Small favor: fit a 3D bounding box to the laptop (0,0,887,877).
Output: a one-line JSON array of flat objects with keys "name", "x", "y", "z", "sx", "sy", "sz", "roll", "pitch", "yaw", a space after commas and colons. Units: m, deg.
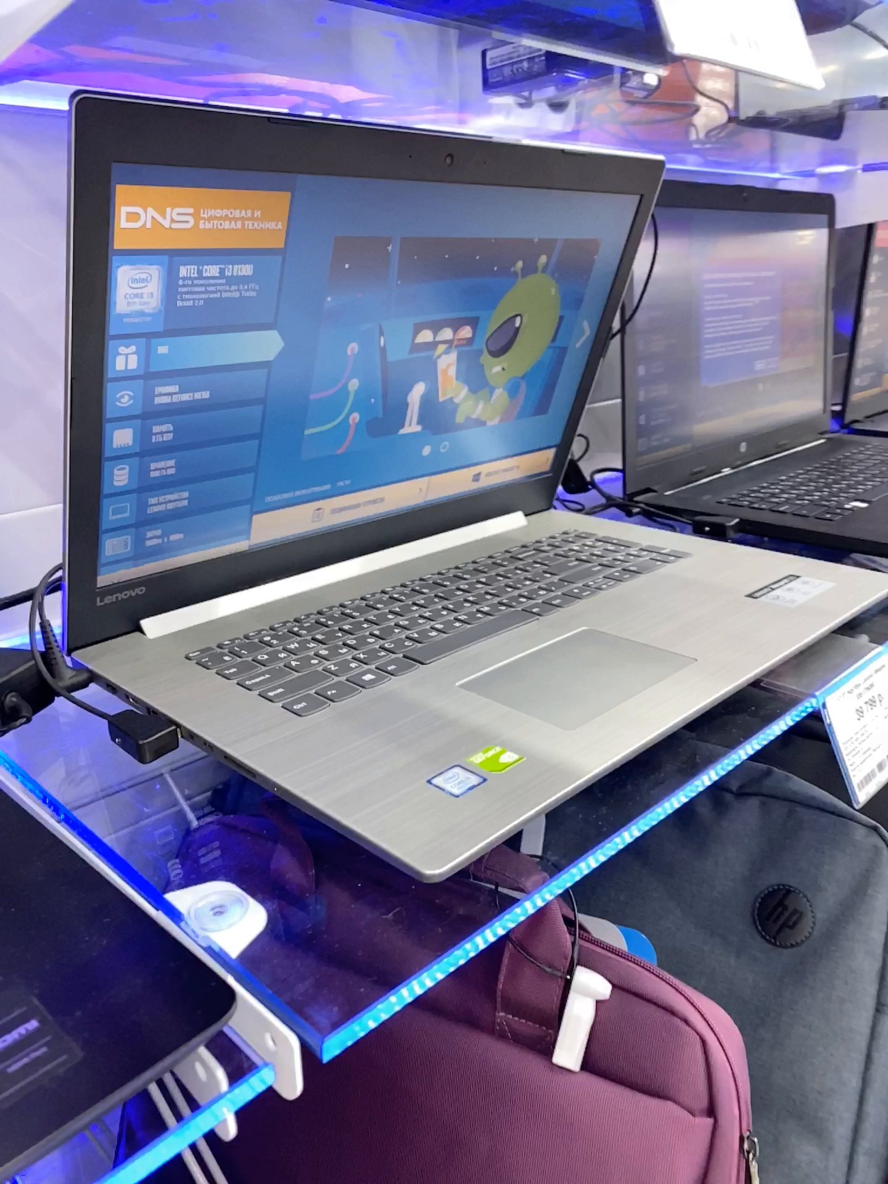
[{"name": "laptop", "x": 0.040, "y": -0.108, "z": 0.496, "sx": 0.417, "sy": 0.256, "sz": 0.280, "roll": -18, "pitch": 25, "yaw": -41}]
